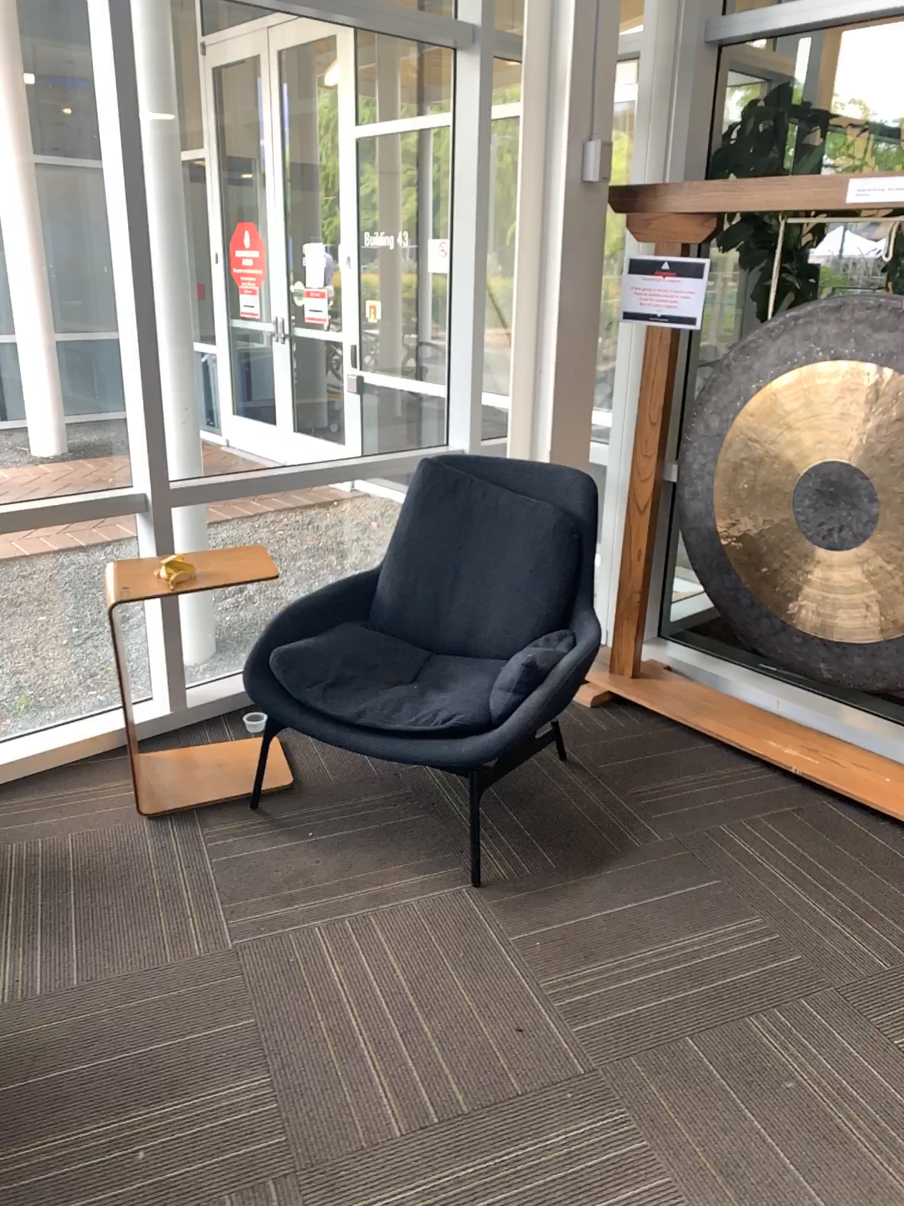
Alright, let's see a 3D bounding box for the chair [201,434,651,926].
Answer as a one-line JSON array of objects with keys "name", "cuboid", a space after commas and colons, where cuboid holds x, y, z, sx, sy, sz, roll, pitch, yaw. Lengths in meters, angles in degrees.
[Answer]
[{"name": "chair", "cuboid": [-0.033, 0.114, 2.710, 0.902, 0.995, 0.943, 11, 22, 25]}]
